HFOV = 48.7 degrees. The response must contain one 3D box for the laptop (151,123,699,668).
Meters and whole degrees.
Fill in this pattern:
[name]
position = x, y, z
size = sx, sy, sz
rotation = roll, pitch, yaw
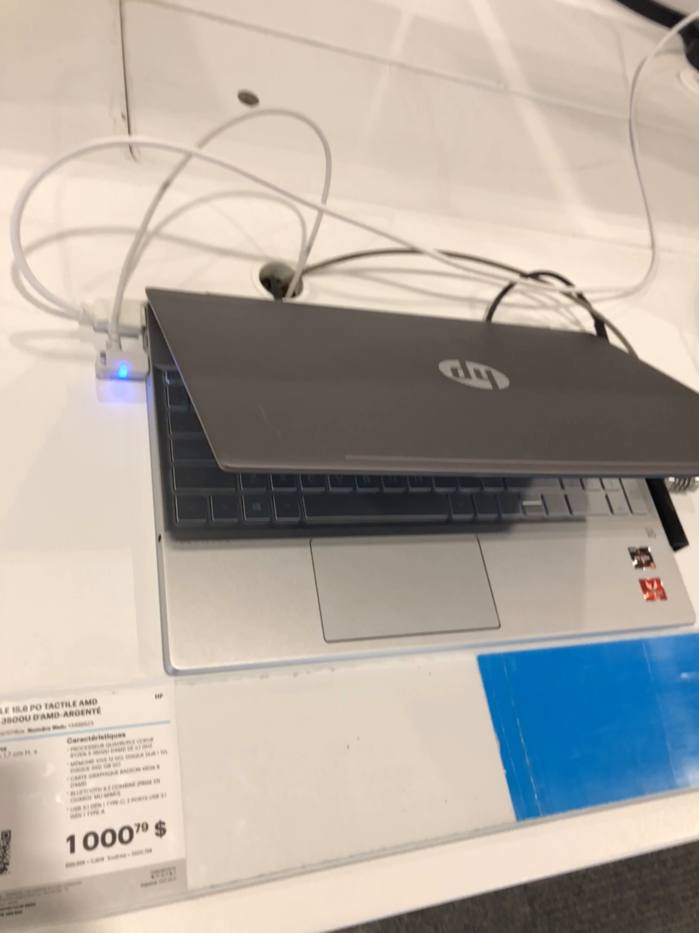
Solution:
[laptop]
position = 0.081, -0.030, 0.445
size = 0.351, 0.134, 0.231
rotation = 1, 62, -23
